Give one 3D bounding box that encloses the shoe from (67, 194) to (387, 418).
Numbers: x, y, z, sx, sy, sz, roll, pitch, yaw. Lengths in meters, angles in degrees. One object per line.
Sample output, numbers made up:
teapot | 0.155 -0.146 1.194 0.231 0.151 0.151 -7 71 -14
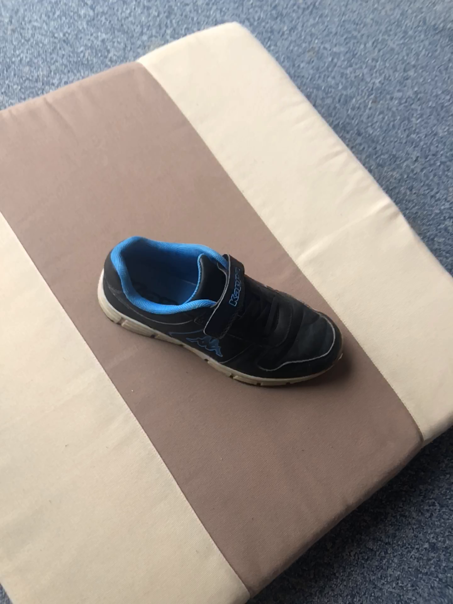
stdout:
shoe | 0.001 0.010 0.439 0.240 0.090 0.100 20 69 -4
